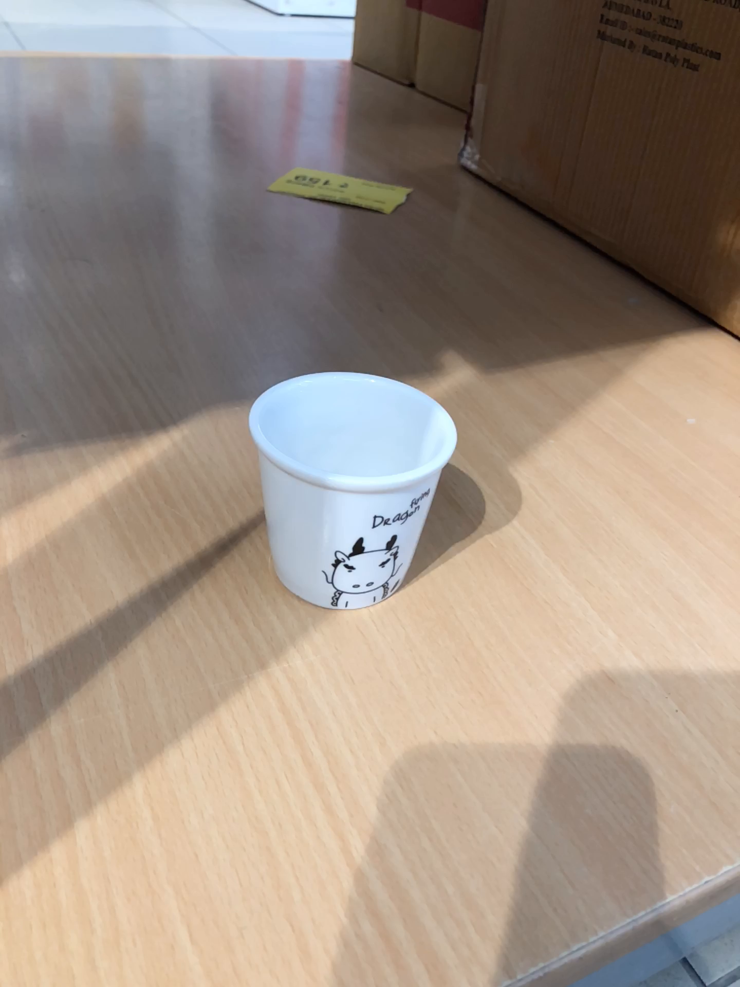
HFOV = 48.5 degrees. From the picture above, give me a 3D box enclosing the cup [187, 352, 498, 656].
[{"bbox_3d":[-0.014,-0.001,0.293,0.080,0.060,0.080,5,36,-3],"label":"cup"}]
